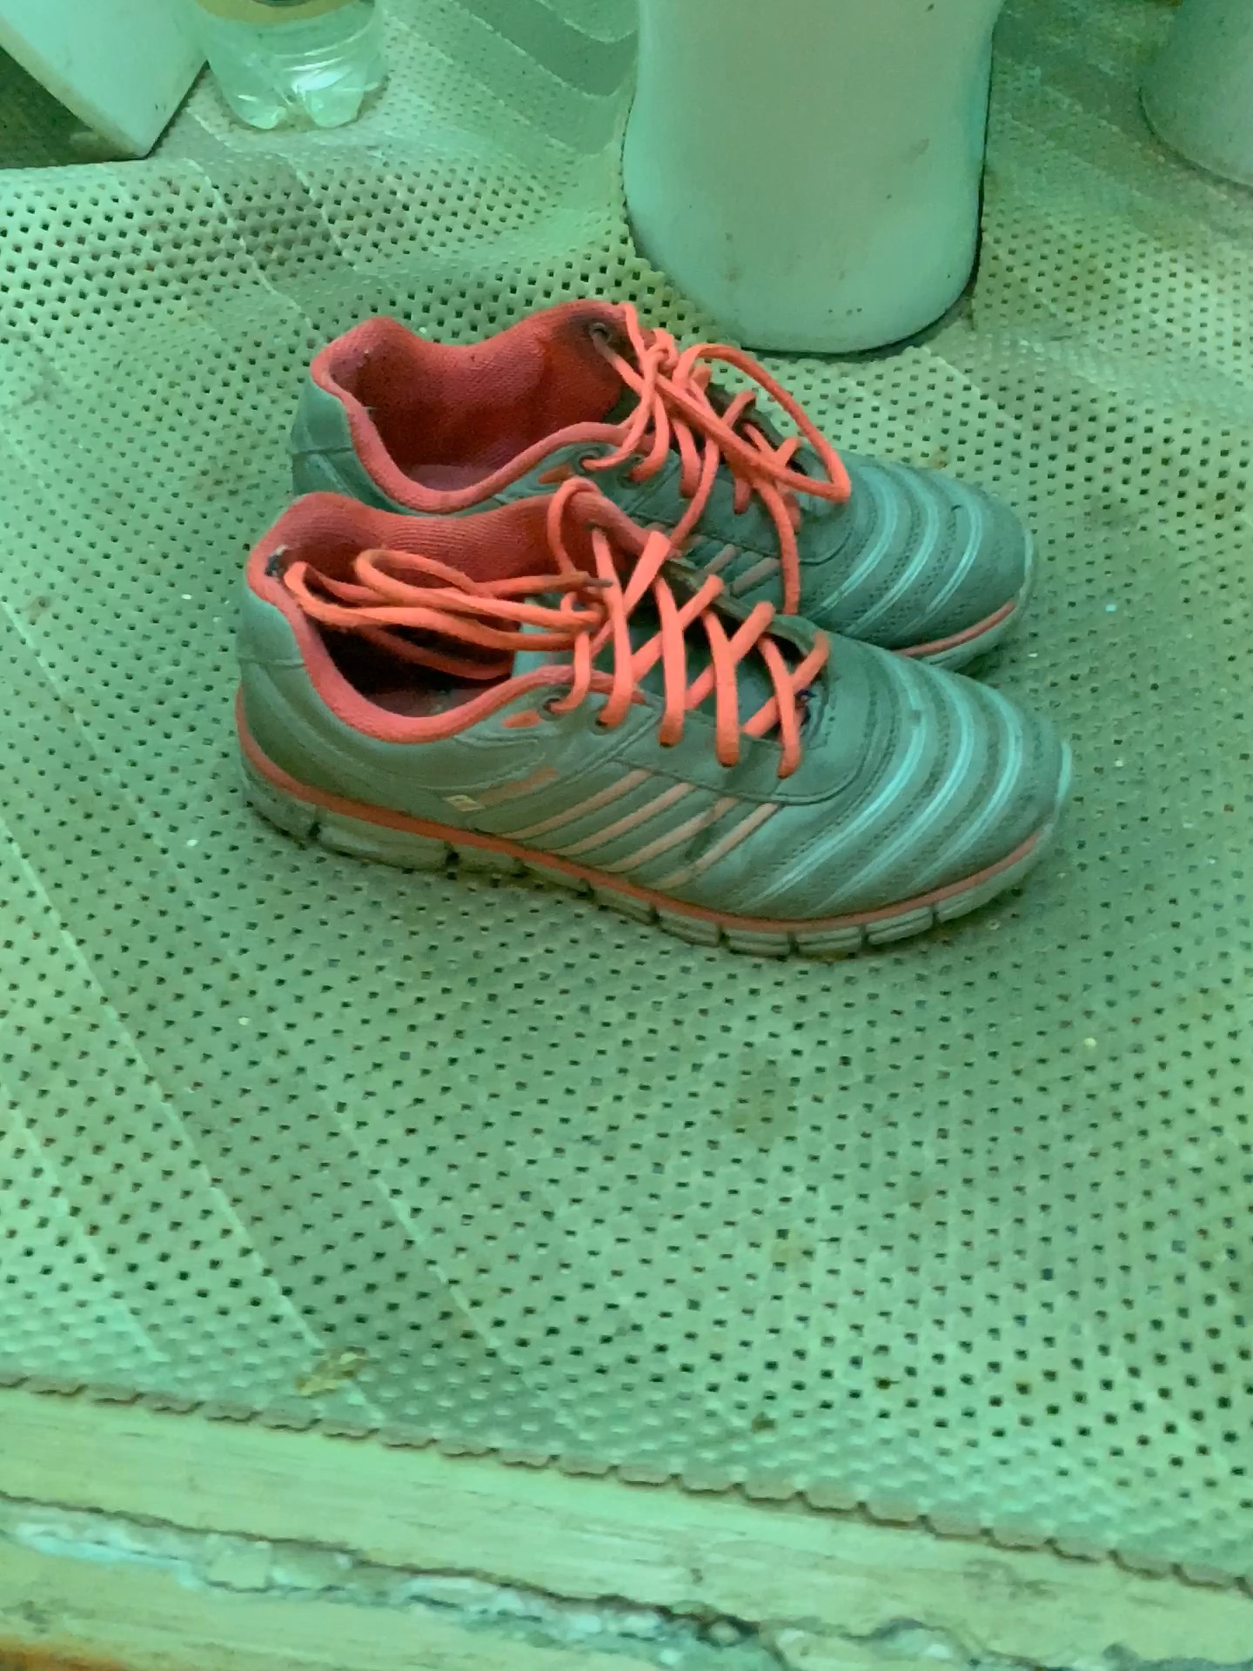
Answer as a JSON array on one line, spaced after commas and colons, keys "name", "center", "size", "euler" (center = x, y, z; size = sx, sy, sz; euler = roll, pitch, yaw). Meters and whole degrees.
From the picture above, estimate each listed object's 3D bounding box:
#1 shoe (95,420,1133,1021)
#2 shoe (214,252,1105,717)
[{"name": "shoe", "center": [0.002, -0.036, 0.392], "size": [0.268, 0.089, 0.111], "euler": [10, 58, 6]}, {"name": "shoe", "center": [0.013, -0.124, 0.455], "size": [0.270, 0.089, 0.111], "euler": [5, 58, 2]}]
